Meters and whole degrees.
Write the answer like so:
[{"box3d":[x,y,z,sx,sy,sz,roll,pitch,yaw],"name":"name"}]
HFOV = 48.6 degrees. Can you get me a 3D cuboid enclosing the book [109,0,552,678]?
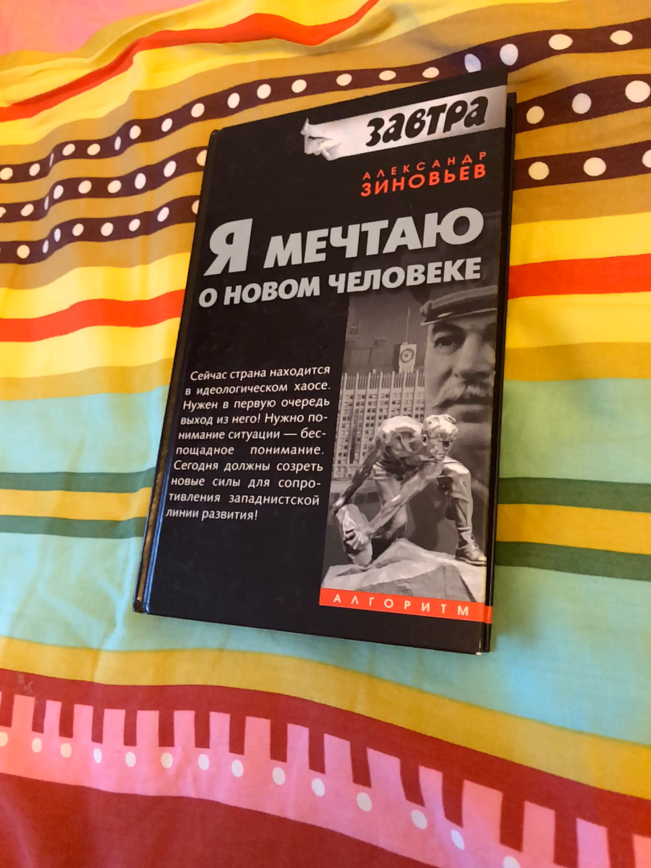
[{"box3d":[0.004,-0.038,0.262,0.140,0.030,0.220,0,76,25],"name":"book"}]
